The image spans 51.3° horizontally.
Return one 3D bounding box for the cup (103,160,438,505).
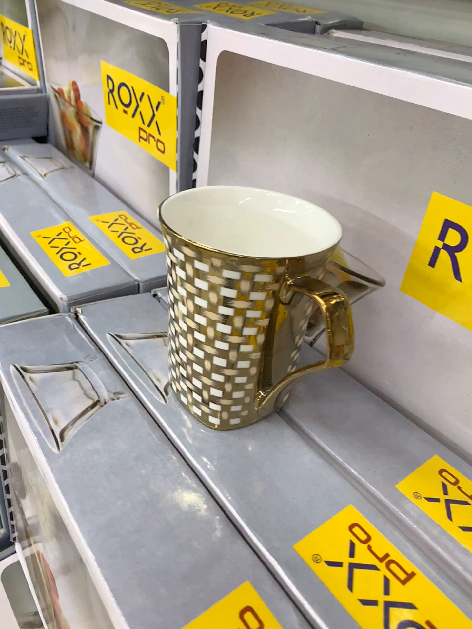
[{"bbox_3d":[0.006,-0.003,0.220,0.080,0.089,0.111,-21,43,-35],"label":"cup"}]
